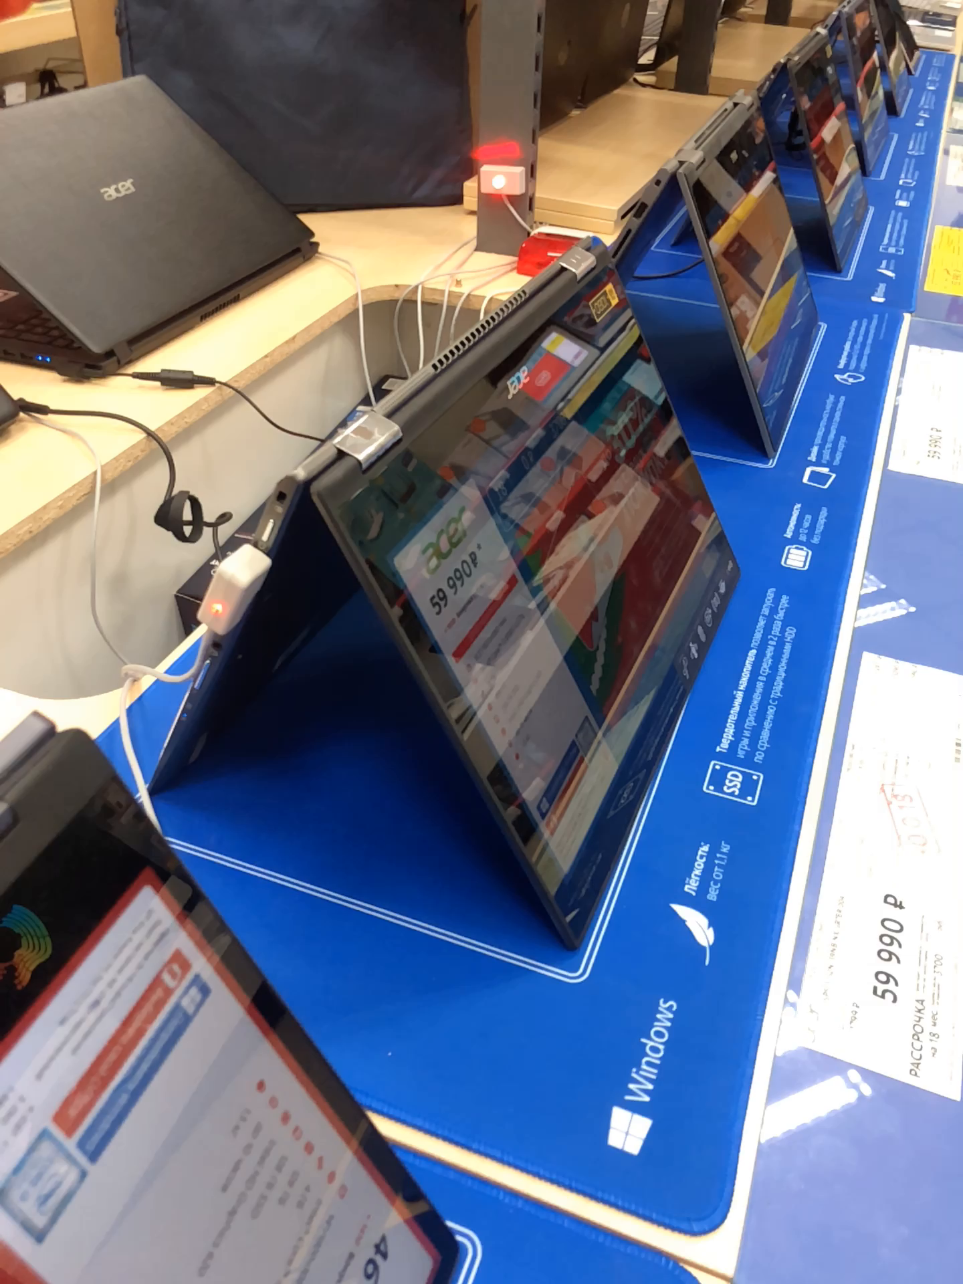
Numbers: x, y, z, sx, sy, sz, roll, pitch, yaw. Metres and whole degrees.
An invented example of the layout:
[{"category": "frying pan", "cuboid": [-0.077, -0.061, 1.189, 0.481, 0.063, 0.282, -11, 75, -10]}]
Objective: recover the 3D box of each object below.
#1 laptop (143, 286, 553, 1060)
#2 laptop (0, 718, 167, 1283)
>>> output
[{"category": "laptop", "cuboid": [-0.060, 0.013, 0.609, 0.201, 0.159, 0.309, -23, 19, 28]}, {"category": "laptop", "cuboid": [-0.190, 0.221, 0.255, 0.175, 0.179, 0.270, -15, 23, 29]}]
